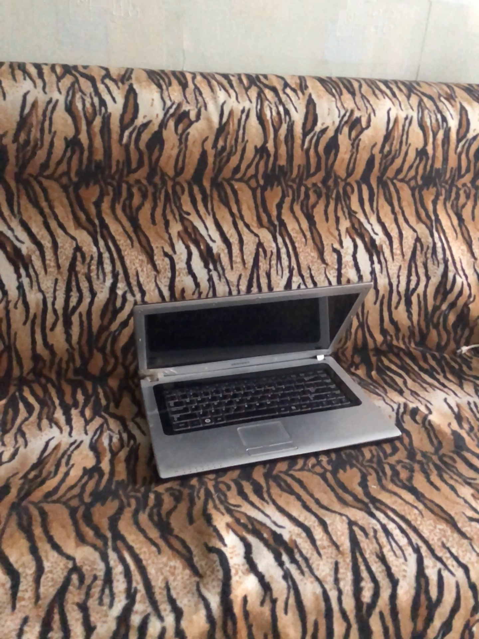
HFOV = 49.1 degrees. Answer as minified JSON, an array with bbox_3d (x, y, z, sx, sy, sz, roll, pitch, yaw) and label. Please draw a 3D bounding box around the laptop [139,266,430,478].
[{"bbox_3d":[0.042,0.057,0.785,0.351,0.179,0.239,-5,27,-15],"label":"laptop"}]
